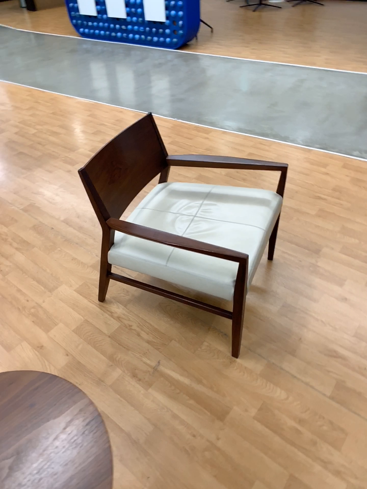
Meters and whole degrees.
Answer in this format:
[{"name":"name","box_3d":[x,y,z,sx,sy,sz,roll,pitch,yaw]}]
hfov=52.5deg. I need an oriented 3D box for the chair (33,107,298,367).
[{"name":"chair","box_3d":[-0.004,-0.081,1.496,0.711,0.634,0.675,13,43,18]}]
